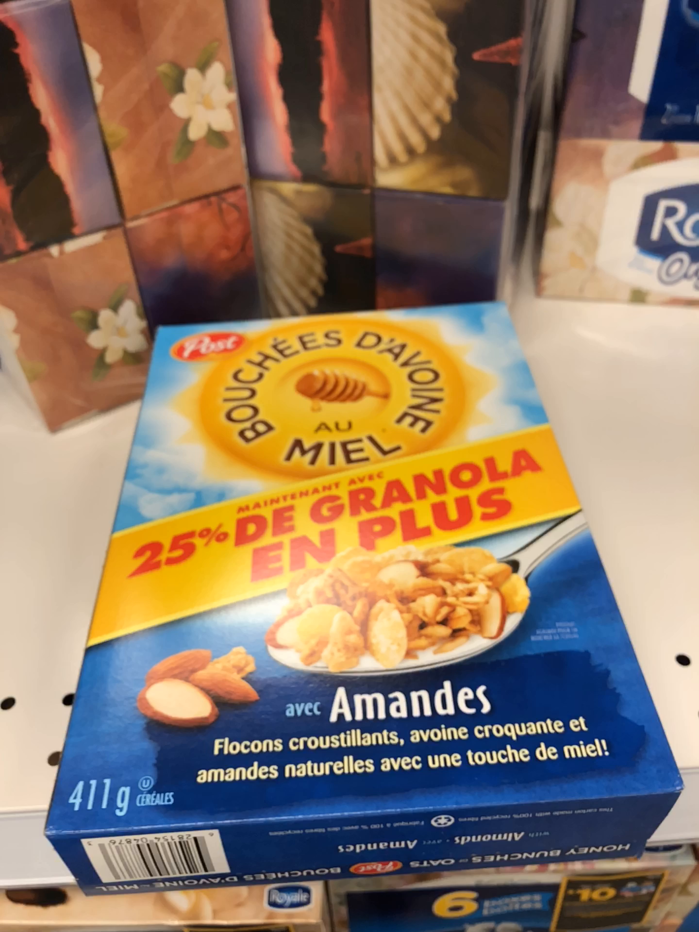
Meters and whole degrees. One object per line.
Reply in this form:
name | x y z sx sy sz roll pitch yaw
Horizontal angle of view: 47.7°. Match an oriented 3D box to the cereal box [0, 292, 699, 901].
cereal box | -0.004 0.024 0.339 0.210 0.050 0.271 -3 43 -1
